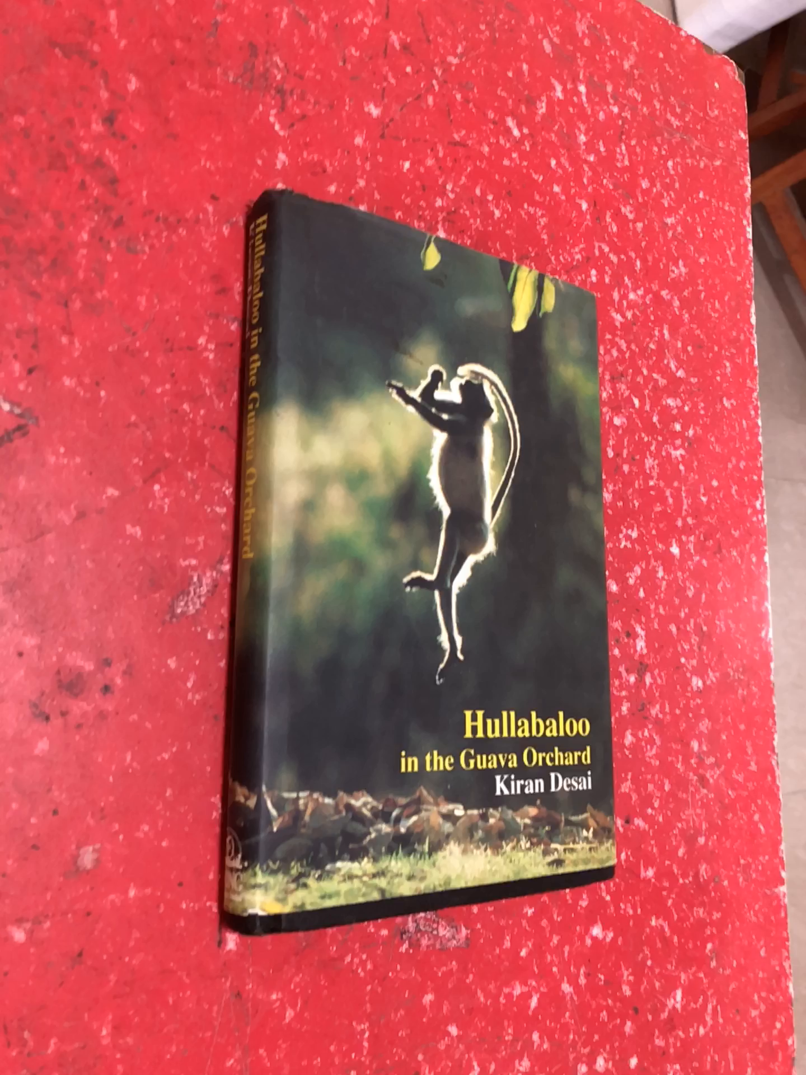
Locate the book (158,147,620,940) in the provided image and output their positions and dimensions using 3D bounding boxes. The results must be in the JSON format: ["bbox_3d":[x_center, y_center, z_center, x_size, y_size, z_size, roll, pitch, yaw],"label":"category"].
[{"bbox_3d":[0.003,0.003,0.313,0.161,0.030,0.230,7,78,-34],"label":"book"}]
